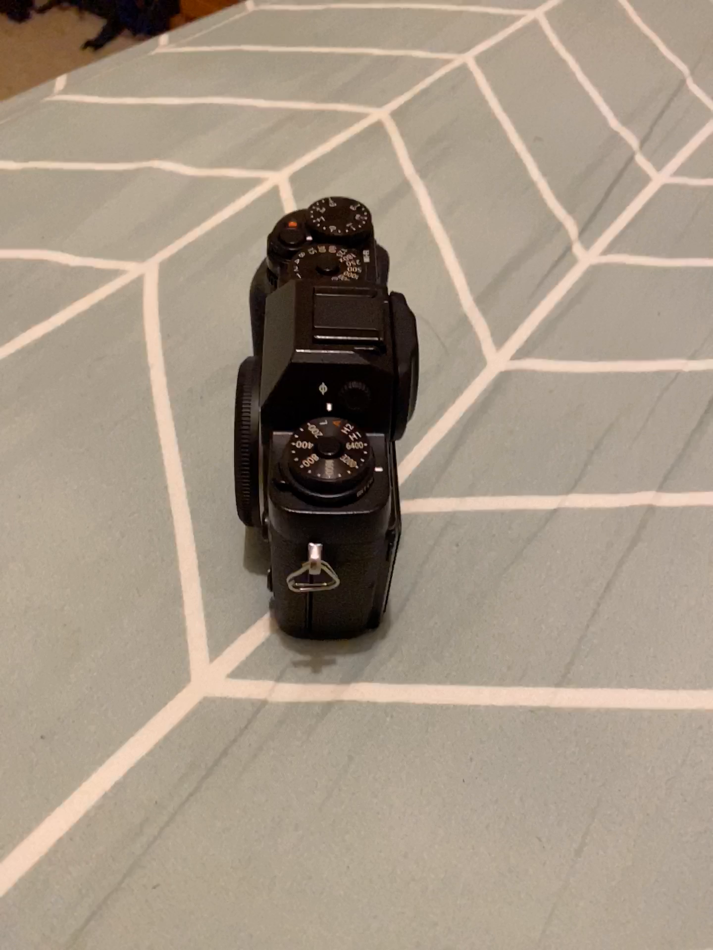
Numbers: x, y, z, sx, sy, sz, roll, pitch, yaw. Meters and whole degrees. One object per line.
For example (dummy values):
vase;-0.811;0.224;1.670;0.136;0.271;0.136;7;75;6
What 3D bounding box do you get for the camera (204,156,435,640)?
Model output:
camera;-0.012;-0.026;0.239;0.051;0.087;0.131;0;53;-3
